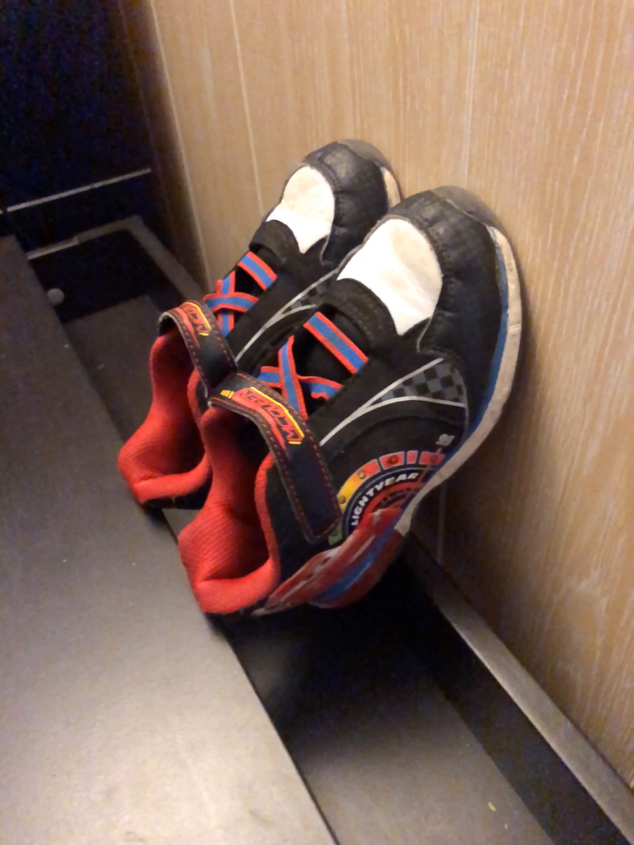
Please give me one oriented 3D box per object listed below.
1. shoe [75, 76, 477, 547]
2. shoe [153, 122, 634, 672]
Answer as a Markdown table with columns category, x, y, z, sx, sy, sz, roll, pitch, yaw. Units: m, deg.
| category | x | y | z | sx | sy | sz | roll | pitch | yaw |
| --- | --- | --- | --- | --- | --- | --- | --- | --- | --- |
| shoe | -0.029 | -0.048 | 0.346 | 0.070 | 0.200 | 0.091 | 19 | 22 | -45 |
| shoe | 0.019 | -0.003 | 0.304 | 0.070 | 0.209 | 0.091 | 15 | 26 | -42 |
